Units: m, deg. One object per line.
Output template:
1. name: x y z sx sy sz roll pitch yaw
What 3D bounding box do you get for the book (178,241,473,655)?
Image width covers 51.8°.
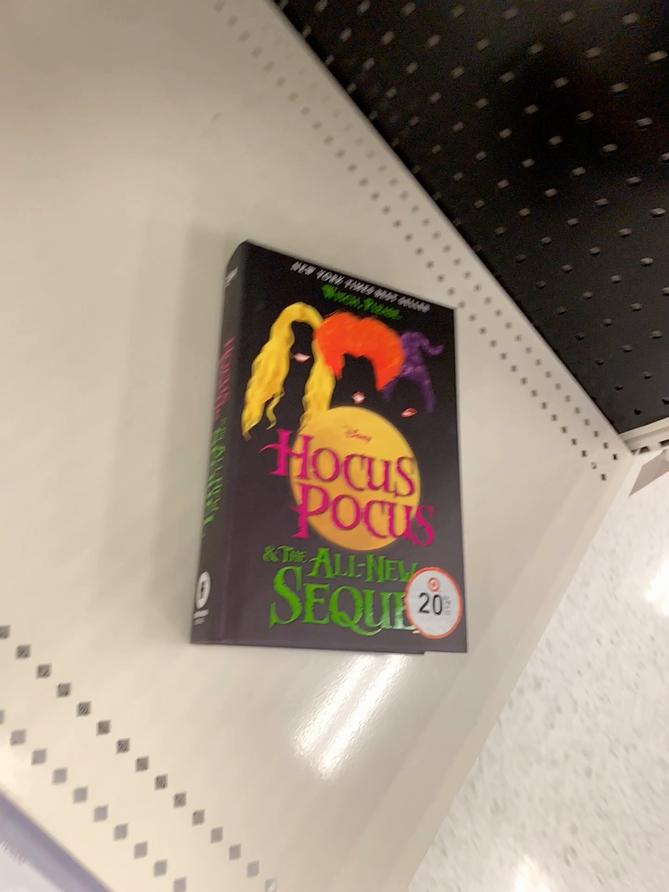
1. book: 0.000 0.008 0.393 0.149 0.050 0.209 11 69 -27
